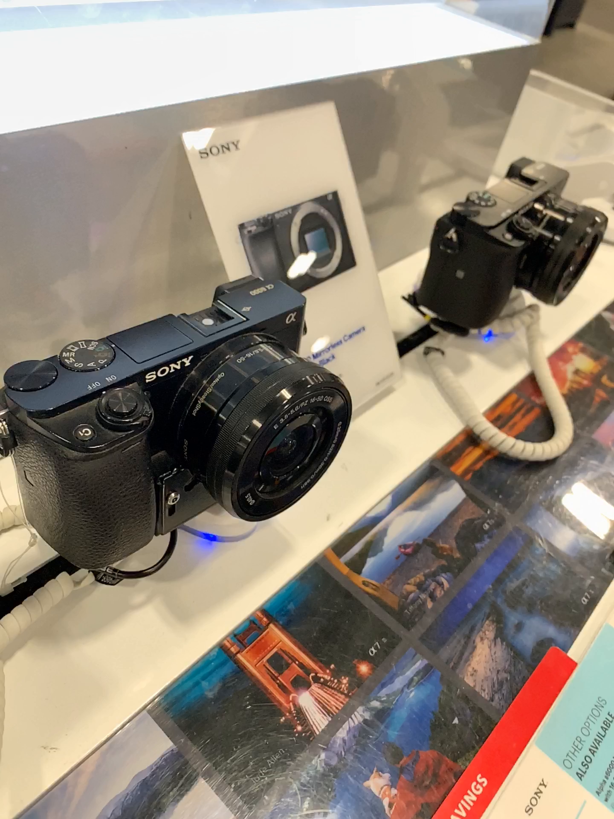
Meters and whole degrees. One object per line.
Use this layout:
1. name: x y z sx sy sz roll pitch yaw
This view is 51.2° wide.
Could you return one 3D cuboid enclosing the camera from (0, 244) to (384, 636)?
1. camera: -0.040 0.002 0.230 0.065 0.074 0.120 33 46 30
